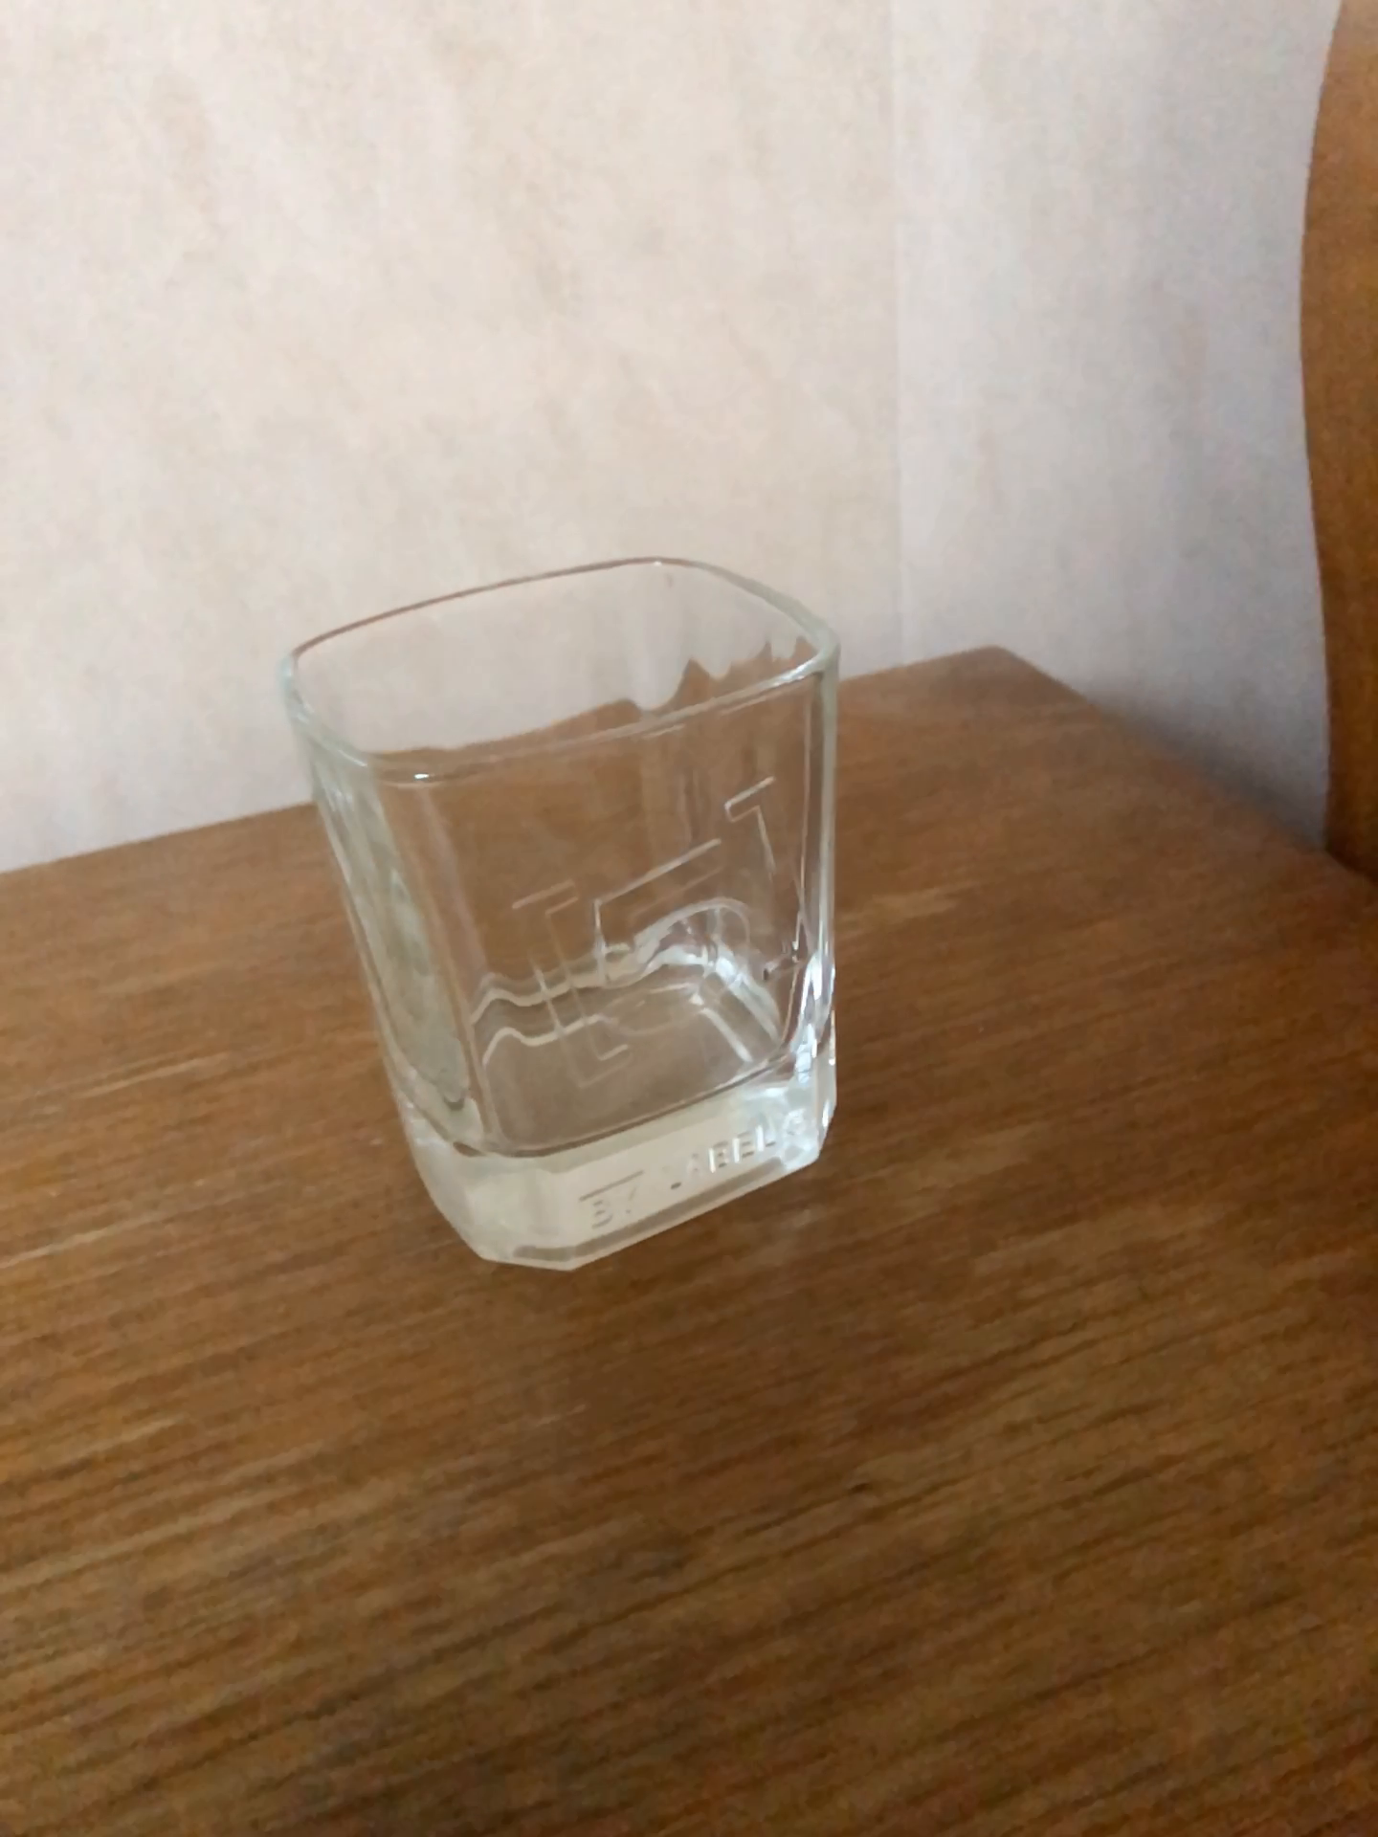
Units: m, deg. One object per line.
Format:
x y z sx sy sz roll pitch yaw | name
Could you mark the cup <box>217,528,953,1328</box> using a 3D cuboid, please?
-0.014 -0.005 0.211 0.070 0.070 0.070 -4 29 2 | cup
